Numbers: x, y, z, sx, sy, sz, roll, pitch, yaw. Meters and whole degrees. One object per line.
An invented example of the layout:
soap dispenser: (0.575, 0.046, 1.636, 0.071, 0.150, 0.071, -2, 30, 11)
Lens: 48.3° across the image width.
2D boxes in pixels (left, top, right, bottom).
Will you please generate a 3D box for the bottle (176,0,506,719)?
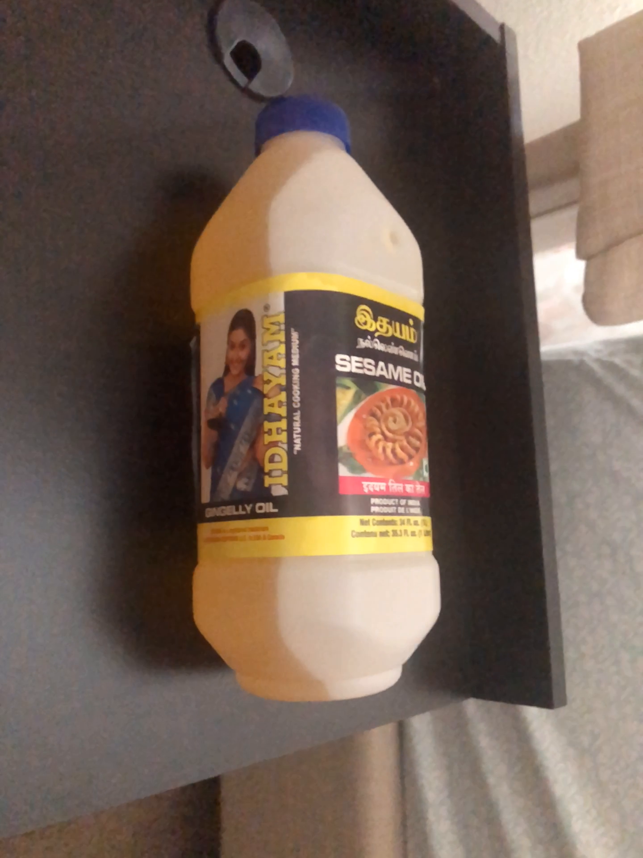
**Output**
bottle: (0.005, -0.026, 0.298, 0.091, 0.089, 0.250, 9, 76, -44)
